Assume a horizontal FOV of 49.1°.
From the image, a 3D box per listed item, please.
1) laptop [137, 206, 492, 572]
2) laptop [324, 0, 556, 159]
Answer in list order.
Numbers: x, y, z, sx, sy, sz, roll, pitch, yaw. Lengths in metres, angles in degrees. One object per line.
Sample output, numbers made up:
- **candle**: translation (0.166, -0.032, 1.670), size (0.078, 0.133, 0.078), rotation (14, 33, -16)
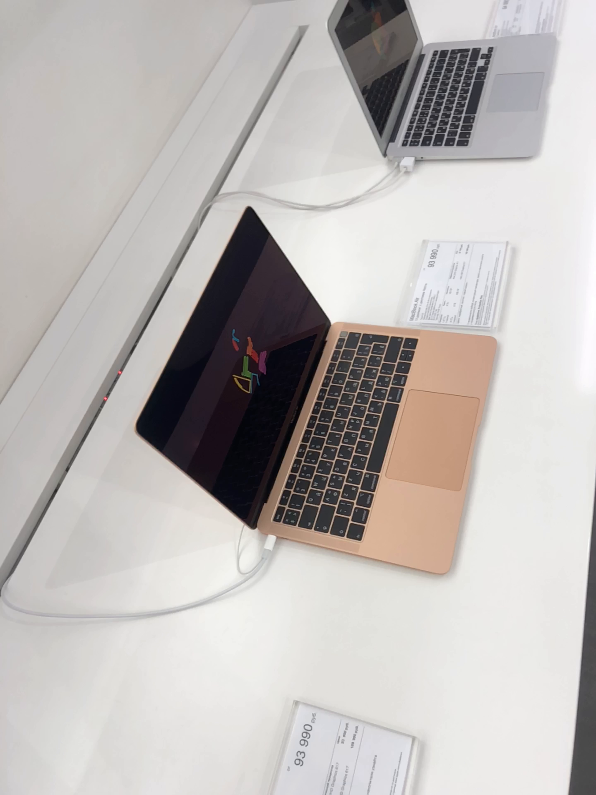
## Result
- **laptop**: translation (0.044, -0.023, 0.688), size (0.264, 0.188, 0.298), rotation (8, 58, 22)
- **laptop**: translation (0.240, -0.575, 1.028), size (0.283, 0.209, 0.364), rotation (6, 56, 21)
